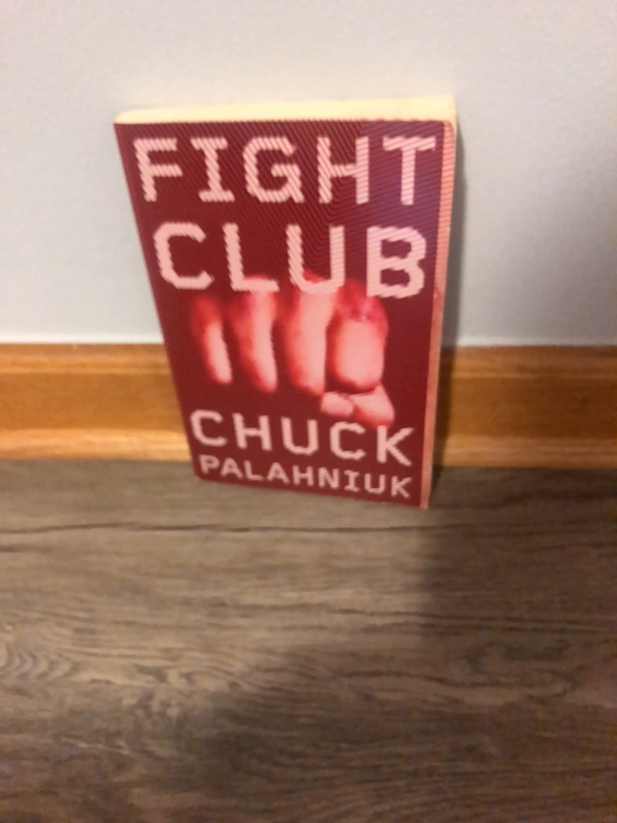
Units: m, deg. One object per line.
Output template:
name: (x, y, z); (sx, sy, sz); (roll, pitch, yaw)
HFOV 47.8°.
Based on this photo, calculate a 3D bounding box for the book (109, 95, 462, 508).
book: (-0.004, -0.041, 0.346); (0.138, 0.210, 0.030); (5, 41, 10)
